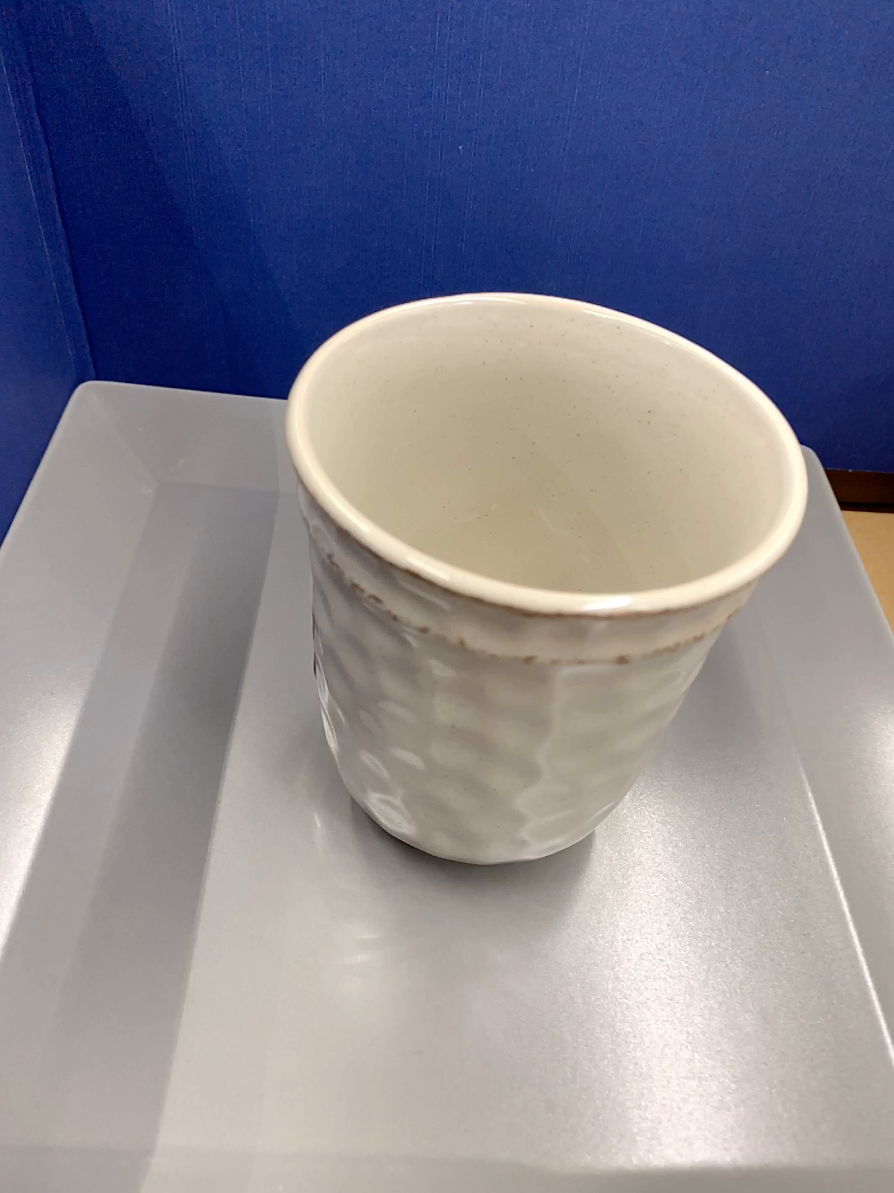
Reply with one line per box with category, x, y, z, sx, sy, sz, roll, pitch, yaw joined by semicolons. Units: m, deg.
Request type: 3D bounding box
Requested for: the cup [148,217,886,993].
cup;0.021;-0.009;0.202;0.101;0.082;0.123;21;46;14
